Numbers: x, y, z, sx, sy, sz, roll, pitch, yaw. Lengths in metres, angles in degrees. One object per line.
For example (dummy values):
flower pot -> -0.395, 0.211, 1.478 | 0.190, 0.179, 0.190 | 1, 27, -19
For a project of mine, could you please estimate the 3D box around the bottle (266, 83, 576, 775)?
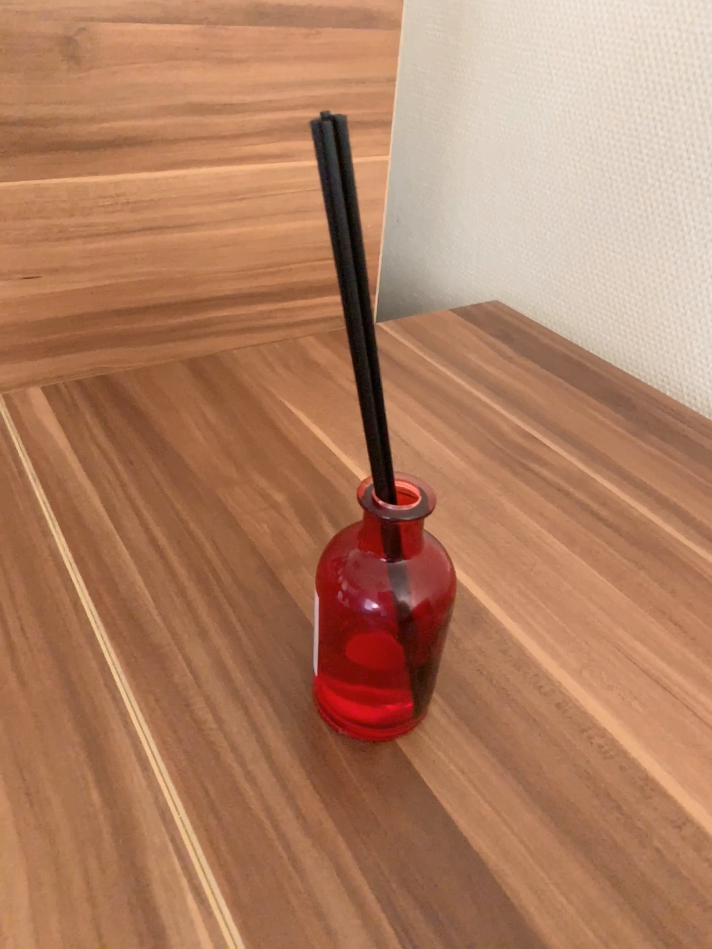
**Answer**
bottle -> 0.007, 0.003, 0.253 | 0.060, 0.239, 0.050 | -13, 39, -24
